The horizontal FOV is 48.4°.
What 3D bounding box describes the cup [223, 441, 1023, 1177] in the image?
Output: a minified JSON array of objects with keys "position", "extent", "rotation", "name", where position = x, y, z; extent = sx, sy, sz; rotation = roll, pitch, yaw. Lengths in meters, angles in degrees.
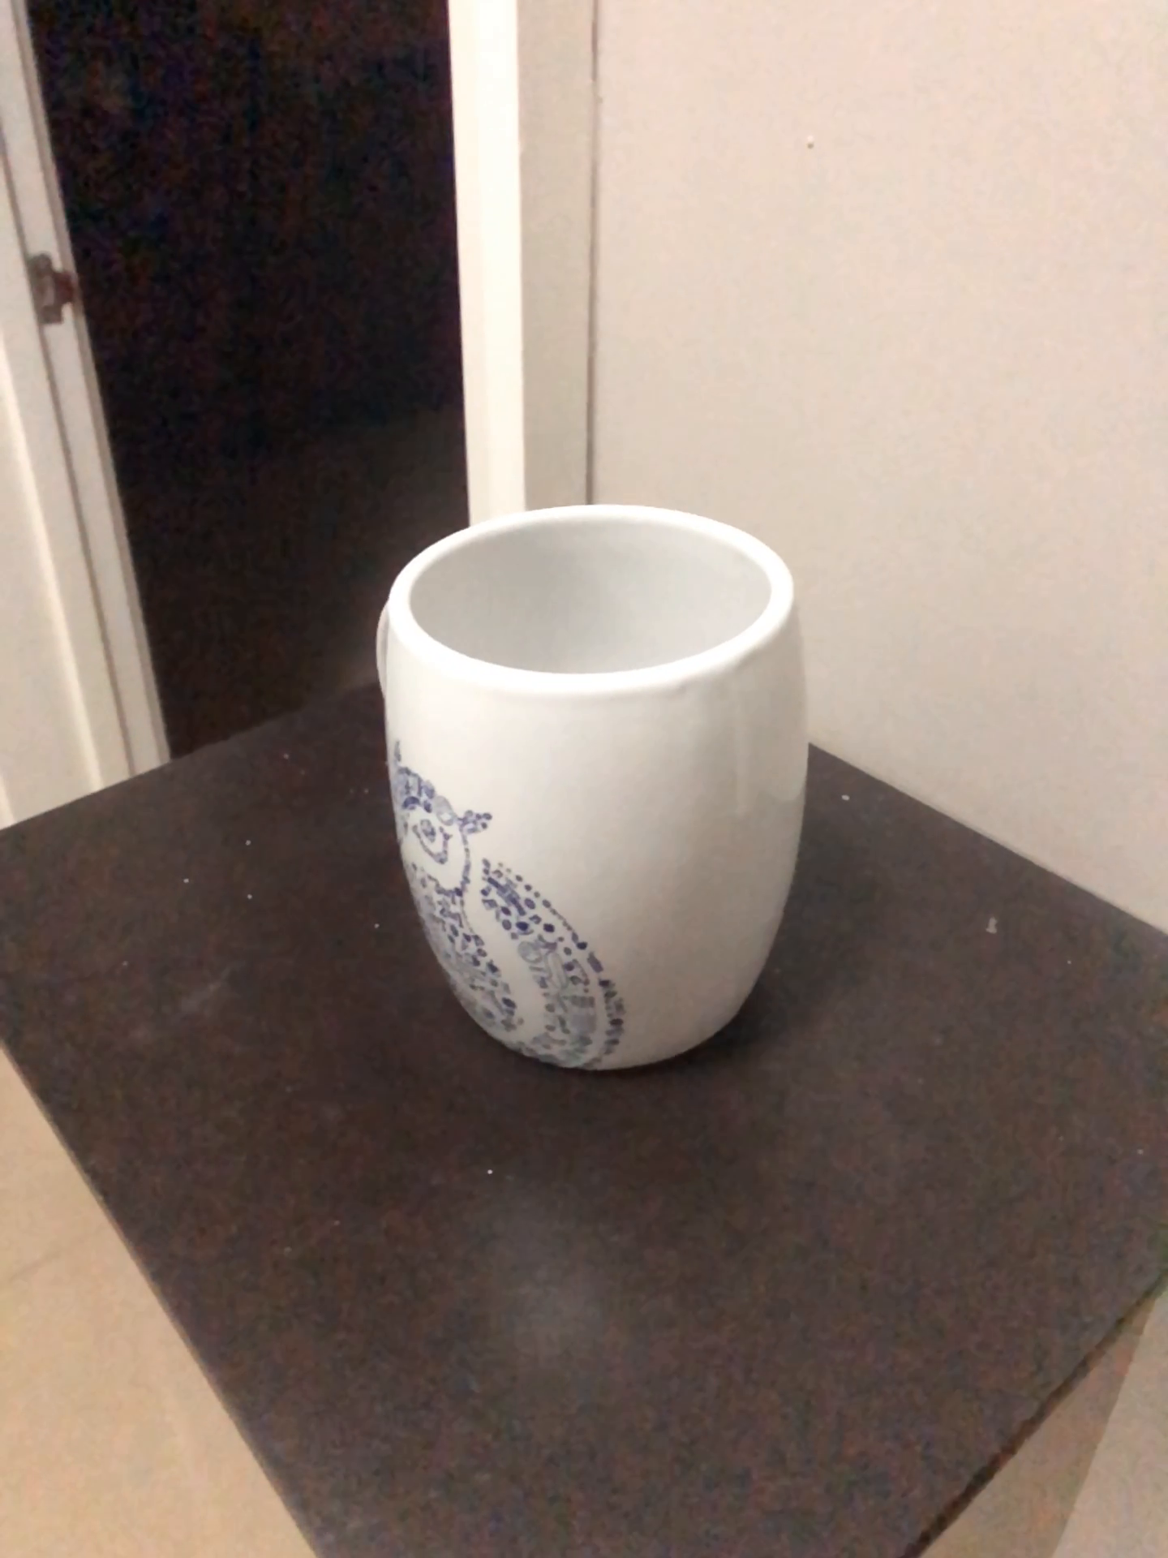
[{"position":[0.002,-0.007,0.280],"extent":[0.100,0.079,0.131],"rotation":[-22,39,-31],"name":"cup"}]
